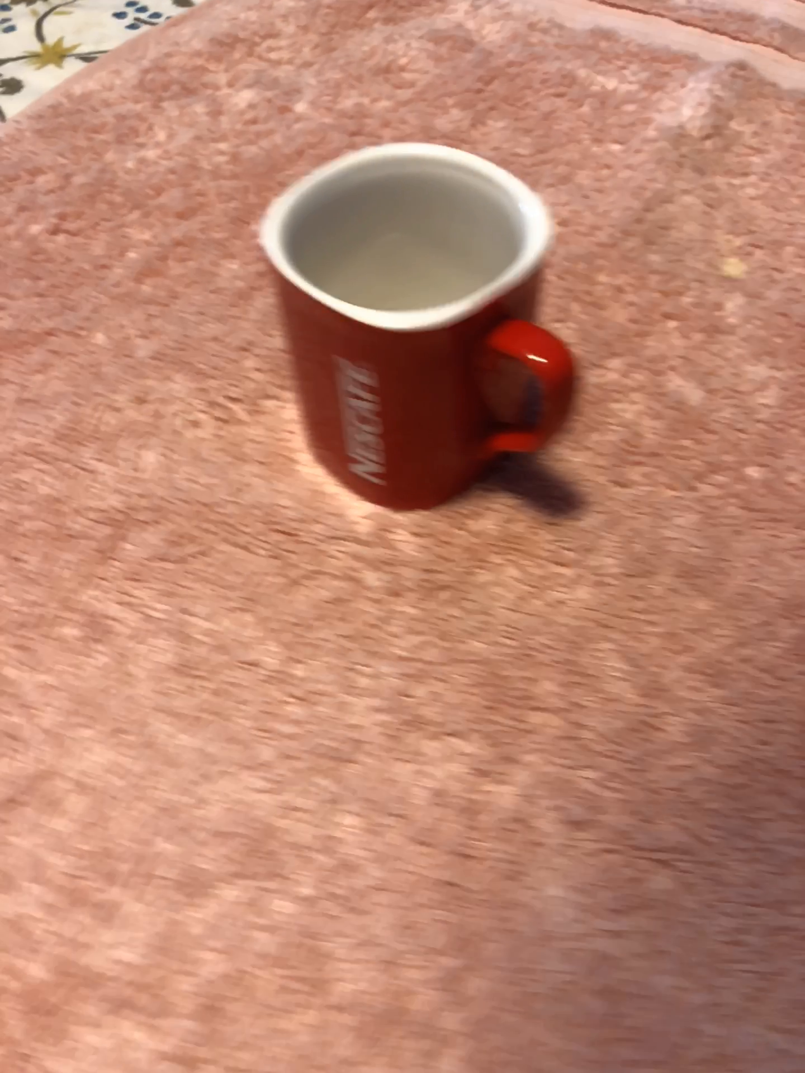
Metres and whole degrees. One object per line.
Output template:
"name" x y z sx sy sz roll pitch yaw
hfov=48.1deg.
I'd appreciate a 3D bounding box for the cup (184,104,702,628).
"cup" 0.007 -0.046 0.236 0.070 0.070 0.100 -36 61 -21
